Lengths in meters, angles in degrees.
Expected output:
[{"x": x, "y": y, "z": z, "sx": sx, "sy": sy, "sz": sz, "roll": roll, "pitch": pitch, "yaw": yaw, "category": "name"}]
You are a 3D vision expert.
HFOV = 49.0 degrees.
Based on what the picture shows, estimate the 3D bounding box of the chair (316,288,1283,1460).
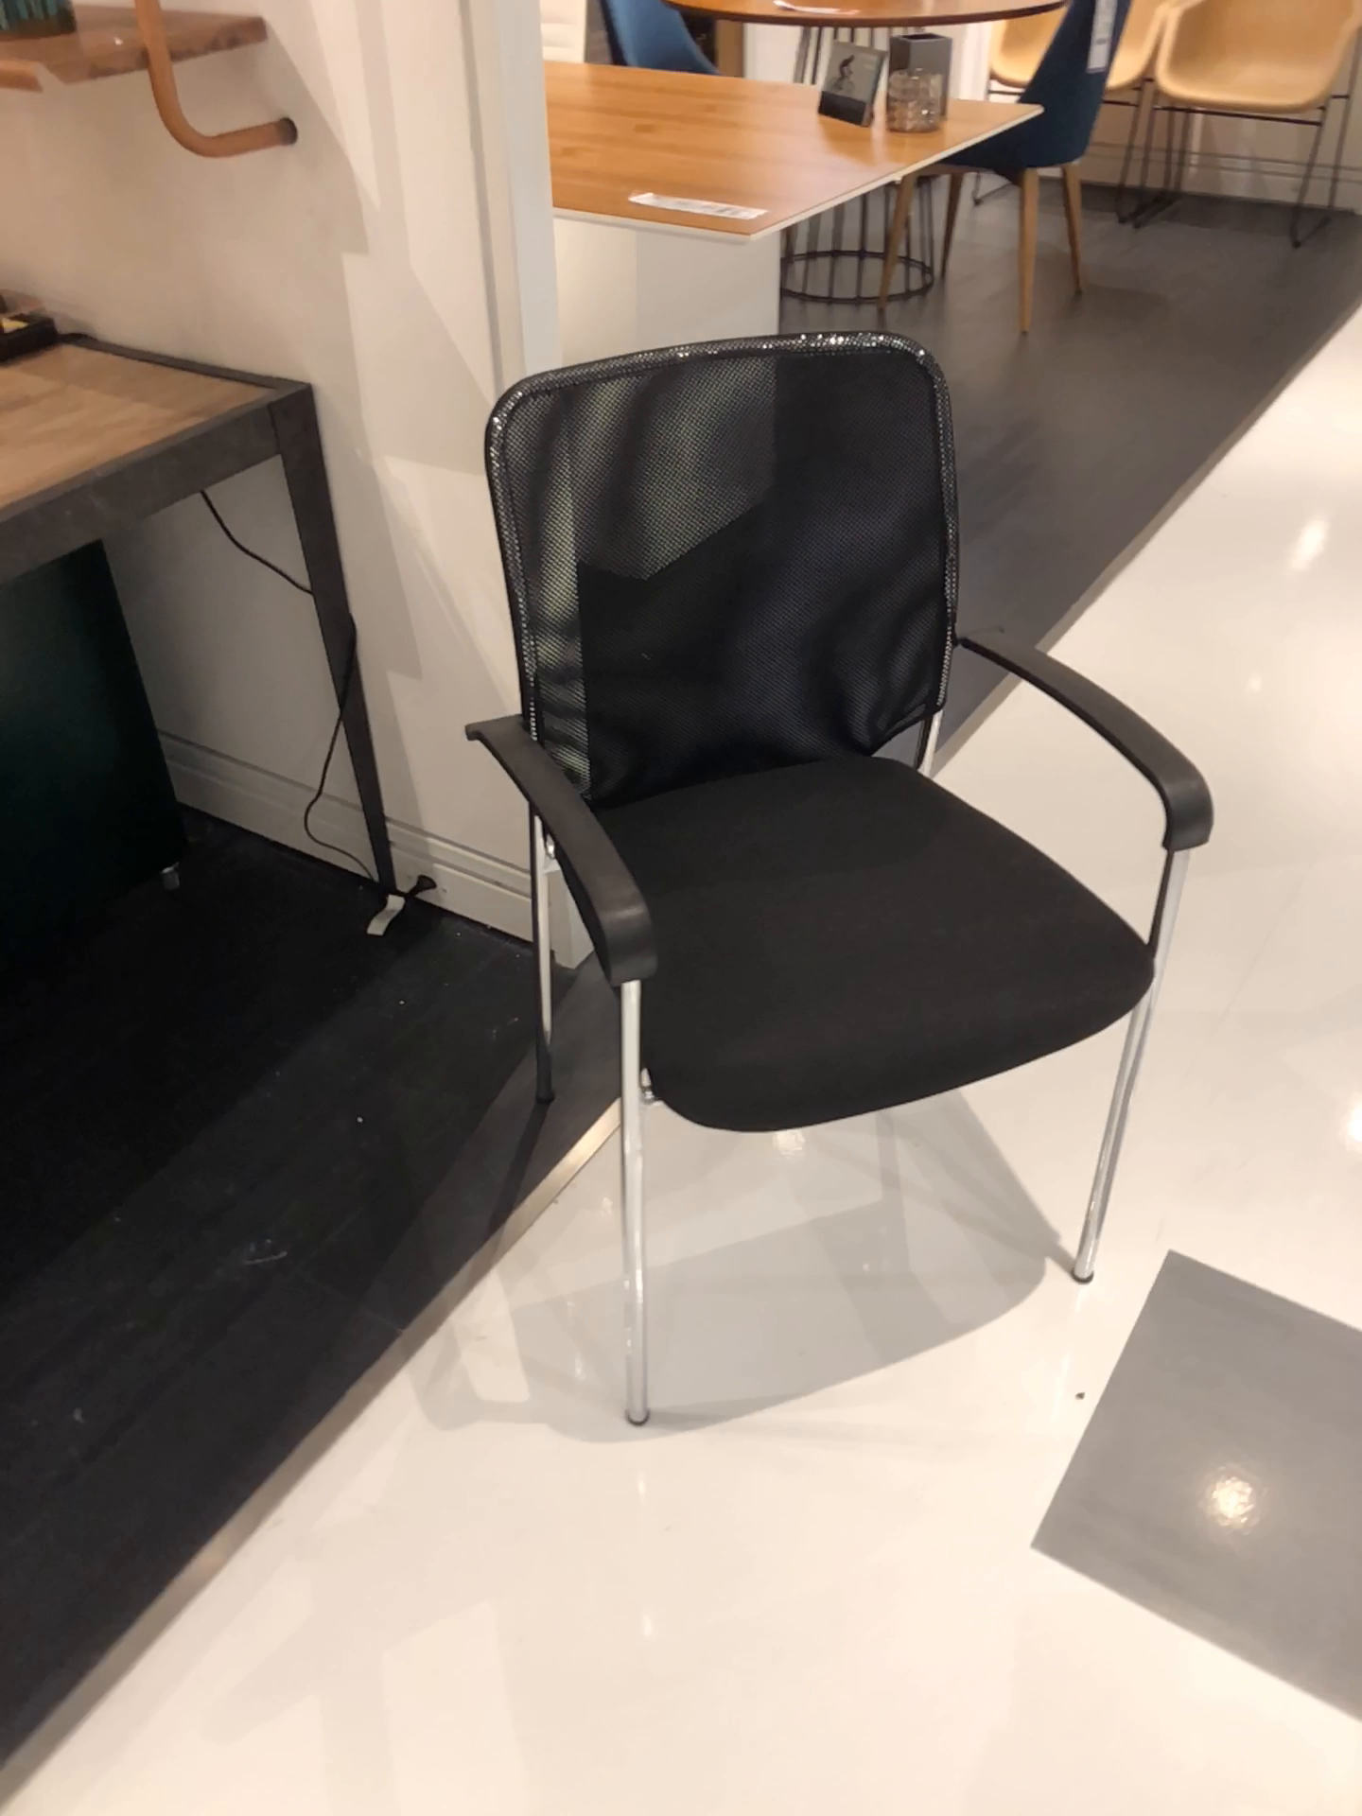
[{"x": 0.063, "y": -0.037, "z": 1.416, "sx": 0.591, "sy": 0.863, "sz": 0.513, "roll": -14, "pitch": 39, "yaw": -16, "category": "chair"}]
